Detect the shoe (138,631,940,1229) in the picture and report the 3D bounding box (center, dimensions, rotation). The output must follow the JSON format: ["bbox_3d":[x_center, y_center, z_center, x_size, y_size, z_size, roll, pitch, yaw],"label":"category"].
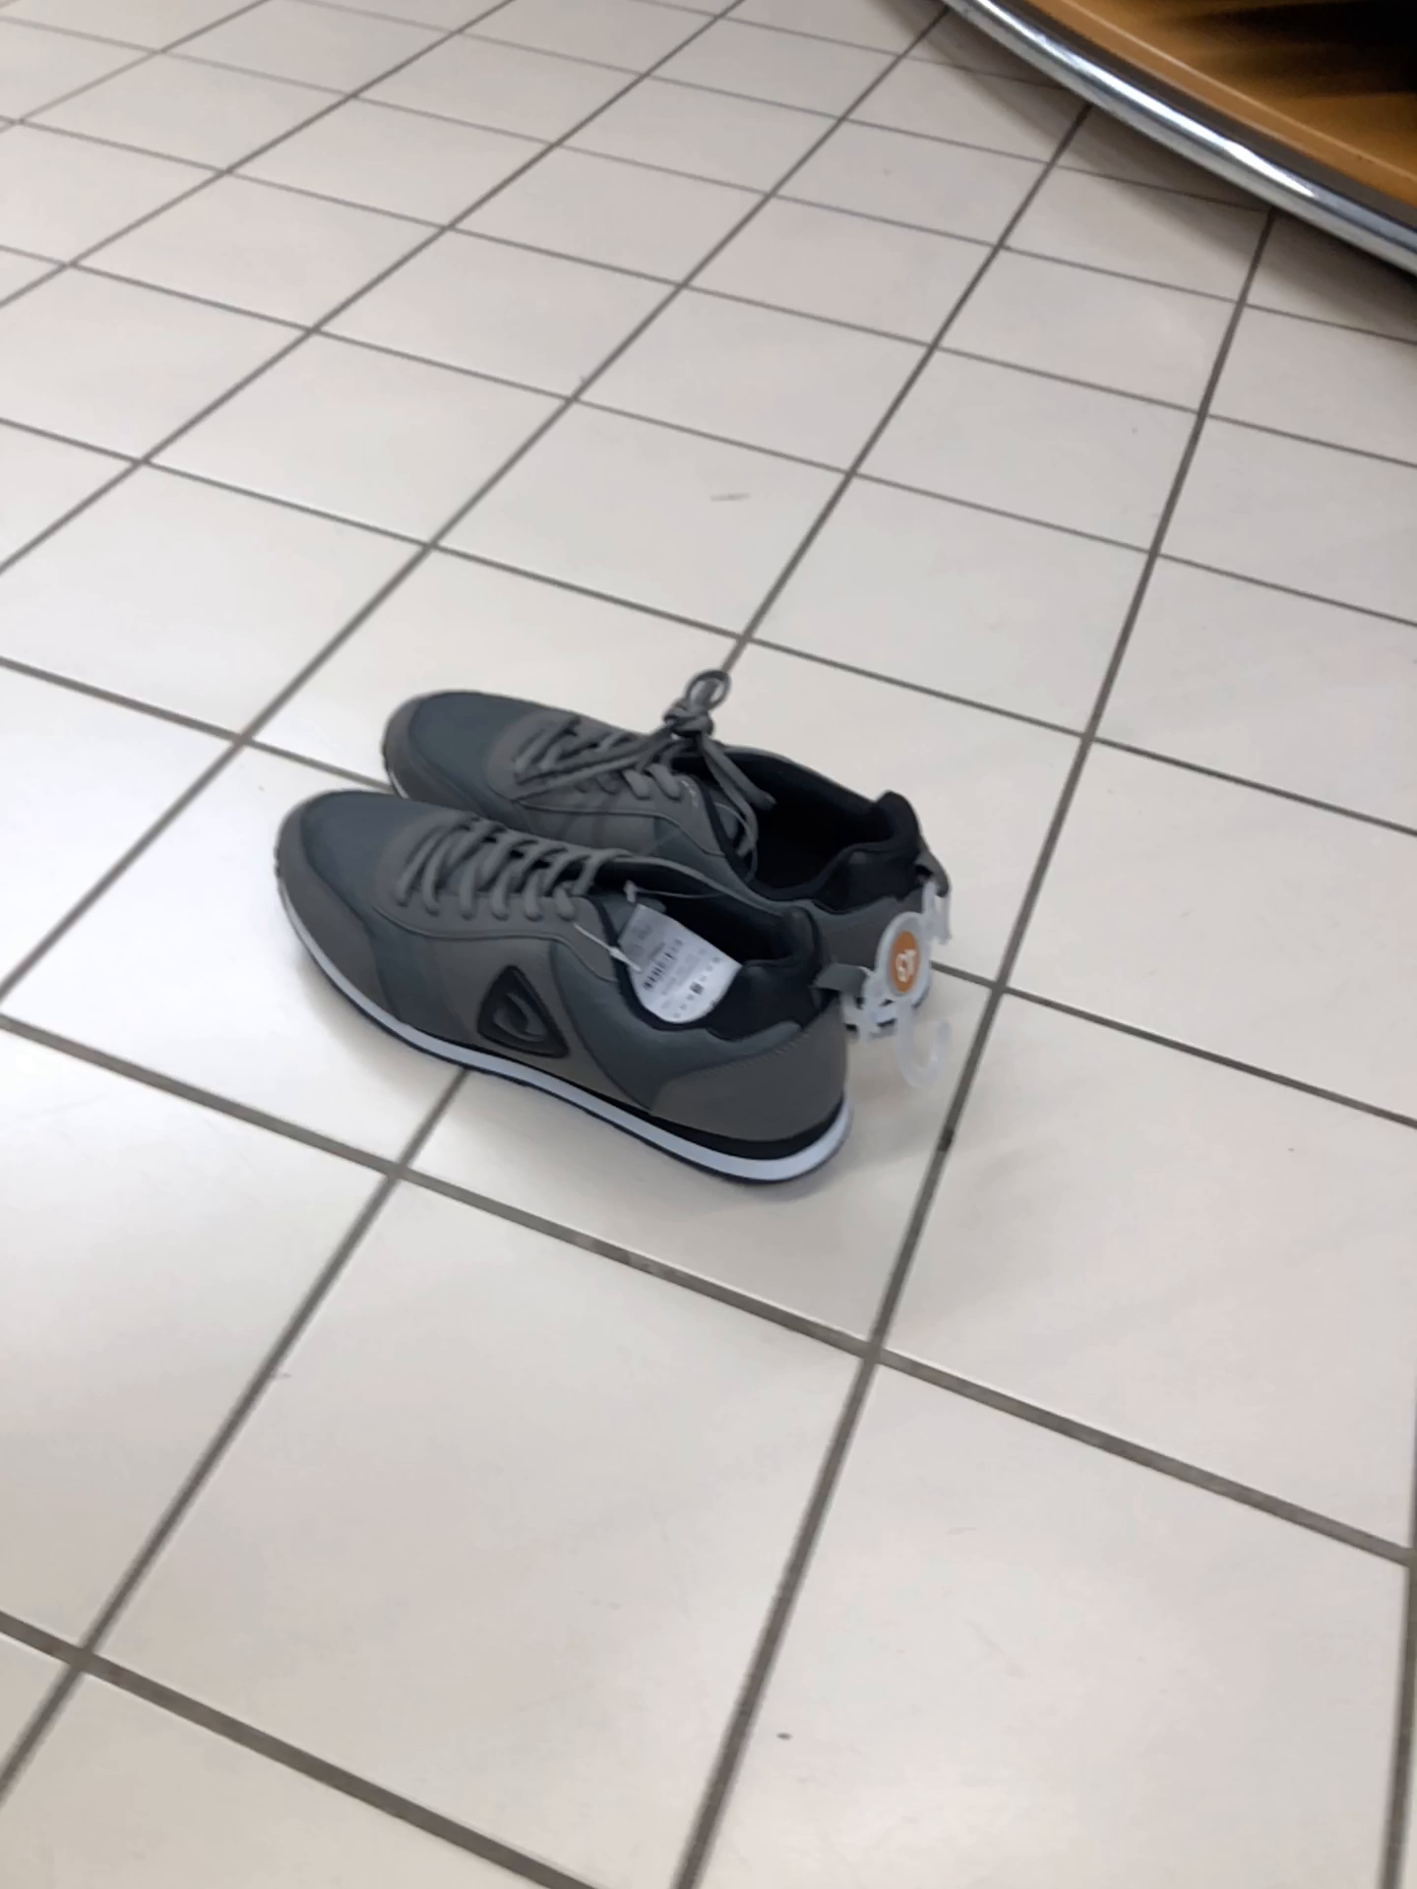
[{"bbox_3d":[-0.069,-0.012,0.624,0.290,0.099,0.101,23,49,15],"label":"shoe"}]

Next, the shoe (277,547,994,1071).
[{"bbox_3d":[-0.036,-0.066,0.695,0.290,0.099,0.101,23,49,15],"label":"shoe"}]
